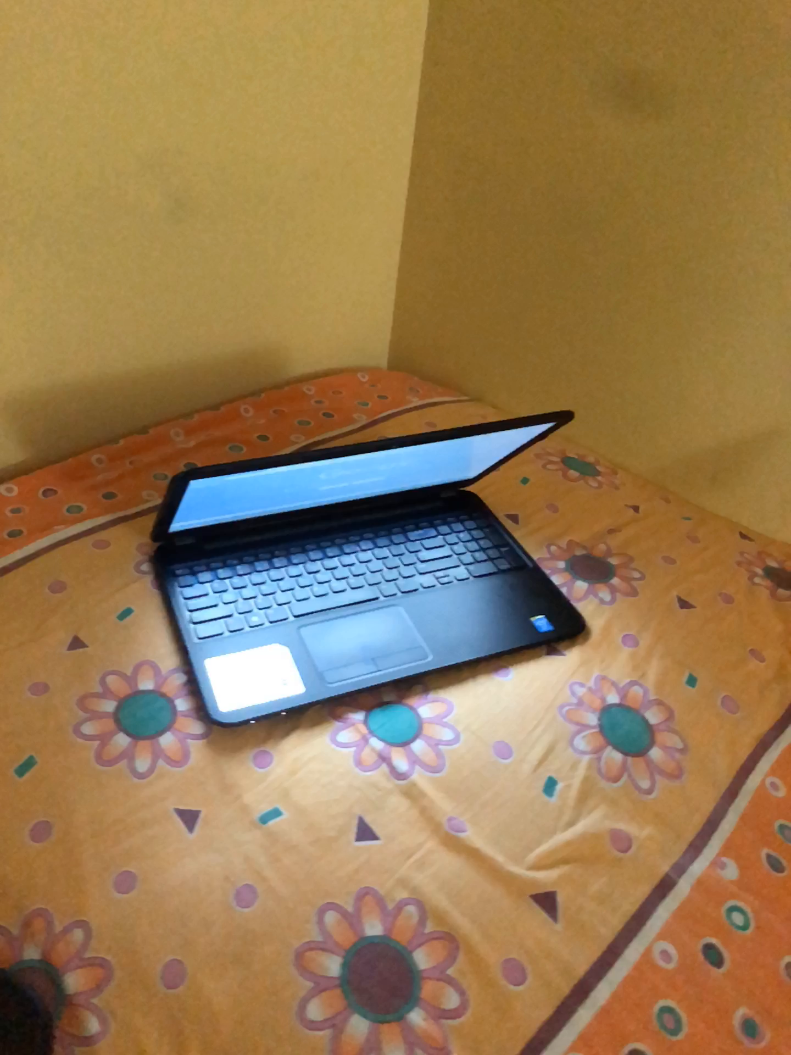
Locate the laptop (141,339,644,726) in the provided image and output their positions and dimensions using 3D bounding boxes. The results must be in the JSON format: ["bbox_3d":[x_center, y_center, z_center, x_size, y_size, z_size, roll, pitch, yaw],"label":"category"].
[{"bbox_3d":[-0.017,-0.016,0.803,0.366,0.190,0.239,-11,41,-22],"label":"laptop"}]
